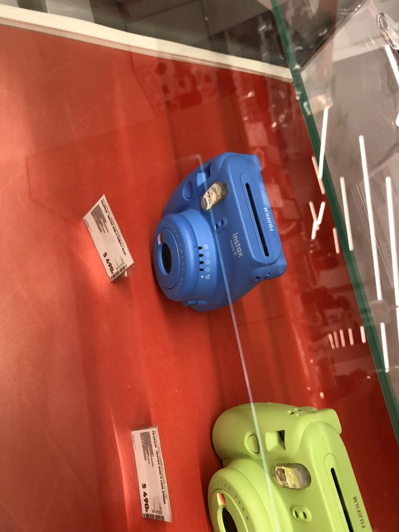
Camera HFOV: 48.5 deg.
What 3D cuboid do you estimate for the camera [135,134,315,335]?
[{"bbox_3d":[0.012,-0.021,0.359,0.070,0.110,0.122,-9,75,-30],"label":"camera"}]
